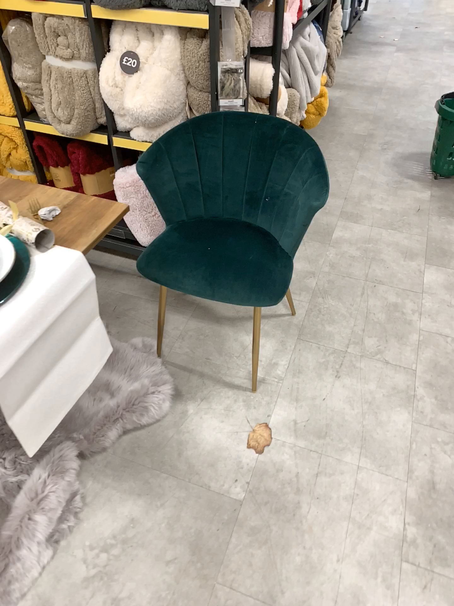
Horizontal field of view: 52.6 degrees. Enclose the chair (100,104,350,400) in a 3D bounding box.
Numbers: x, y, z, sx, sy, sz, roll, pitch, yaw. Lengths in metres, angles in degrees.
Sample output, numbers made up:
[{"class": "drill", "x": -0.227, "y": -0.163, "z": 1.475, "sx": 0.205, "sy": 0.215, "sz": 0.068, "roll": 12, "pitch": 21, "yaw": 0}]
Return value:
[{"class": "chair", "x": 0.030, "y": -0.182, "z": 1.547, "sx": 0.548, "sy": 0.692, "sz": 0.574, "roll": 14, "pitch": 45, "yaw": 15}]
